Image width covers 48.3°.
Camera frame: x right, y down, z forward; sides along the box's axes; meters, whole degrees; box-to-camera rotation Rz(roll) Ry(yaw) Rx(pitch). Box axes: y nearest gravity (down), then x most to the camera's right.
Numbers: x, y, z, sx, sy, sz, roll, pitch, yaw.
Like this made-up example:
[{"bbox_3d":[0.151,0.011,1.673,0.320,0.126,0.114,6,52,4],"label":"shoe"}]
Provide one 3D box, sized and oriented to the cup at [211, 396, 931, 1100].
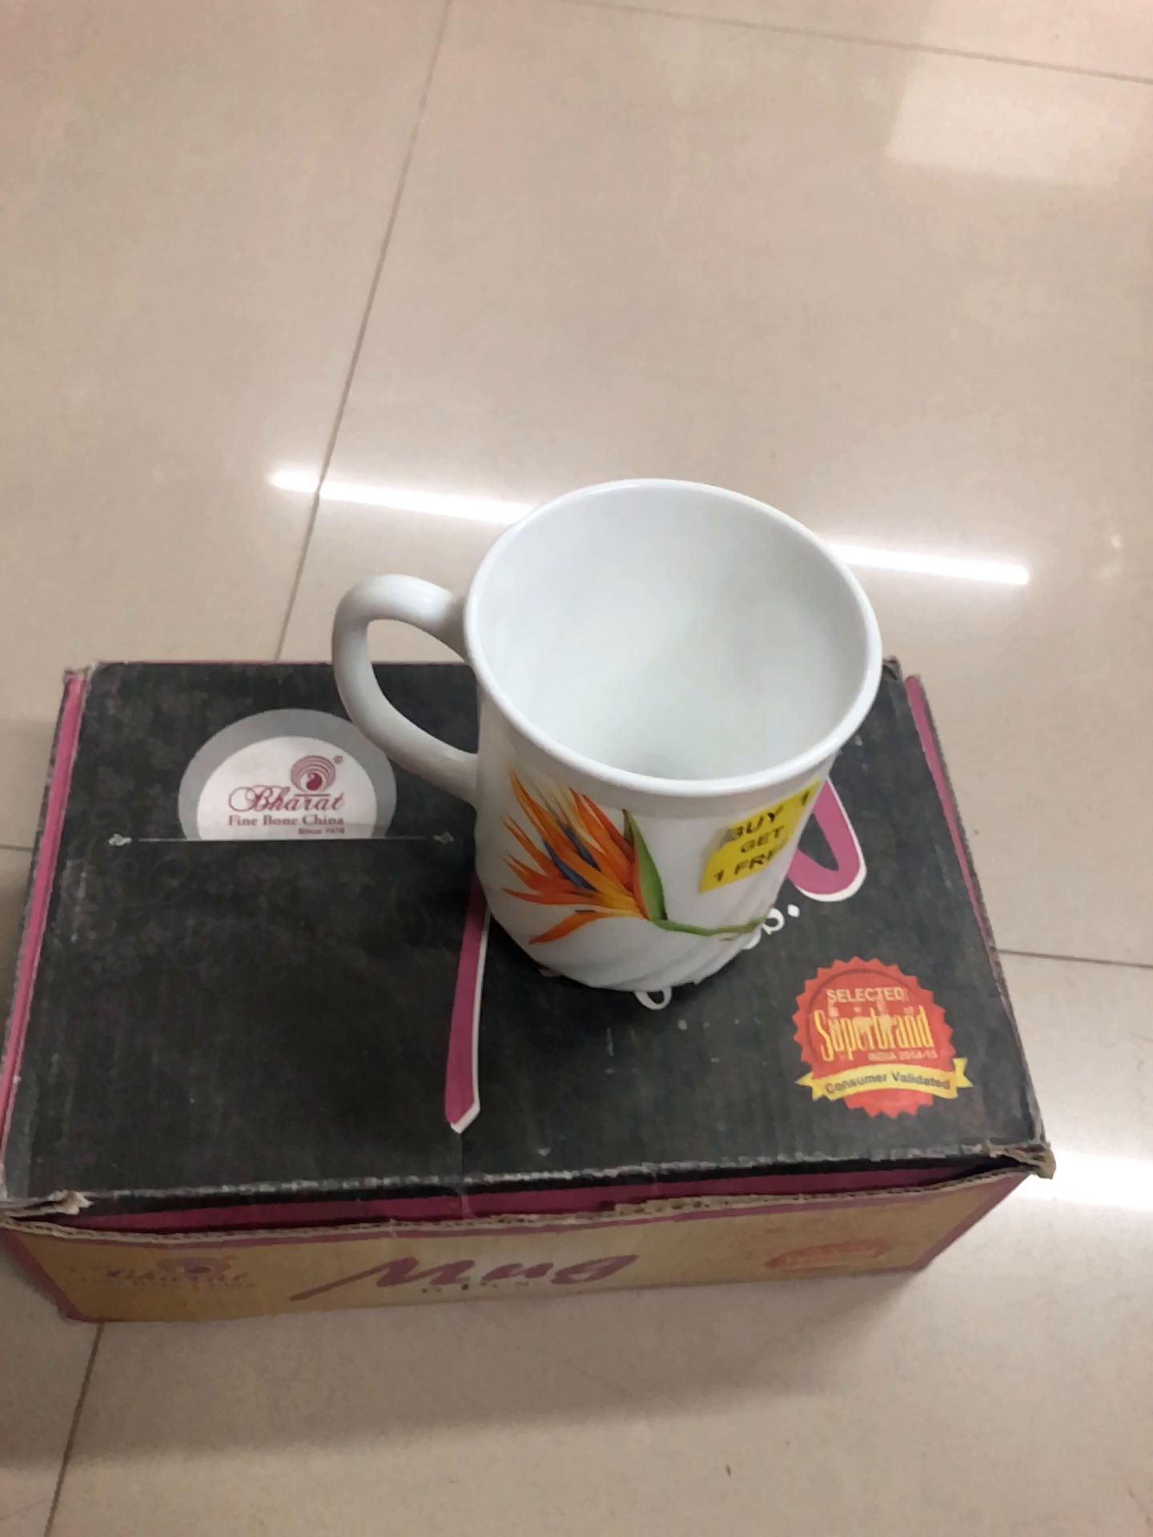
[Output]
[{"bbox_3d":[0.000,-0.002,0.264,0.110,0.090,0.080,16,54,5],"label":"cup"}]
